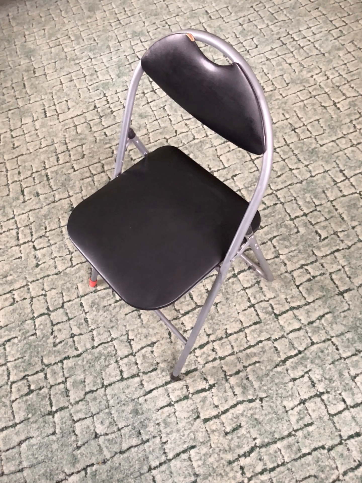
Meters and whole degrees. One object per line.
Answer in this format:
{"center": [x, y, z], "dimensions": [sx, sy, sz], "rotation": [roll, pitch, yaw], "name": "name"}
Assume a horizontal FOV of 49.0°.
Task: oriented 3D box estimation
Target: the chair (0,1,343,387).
{"center": [-0.027, -0.049, 1.004], "dimensions": [0.475, 0.733, 0.457], "rotation": [-39, 63, -16], "name": "chair"}
